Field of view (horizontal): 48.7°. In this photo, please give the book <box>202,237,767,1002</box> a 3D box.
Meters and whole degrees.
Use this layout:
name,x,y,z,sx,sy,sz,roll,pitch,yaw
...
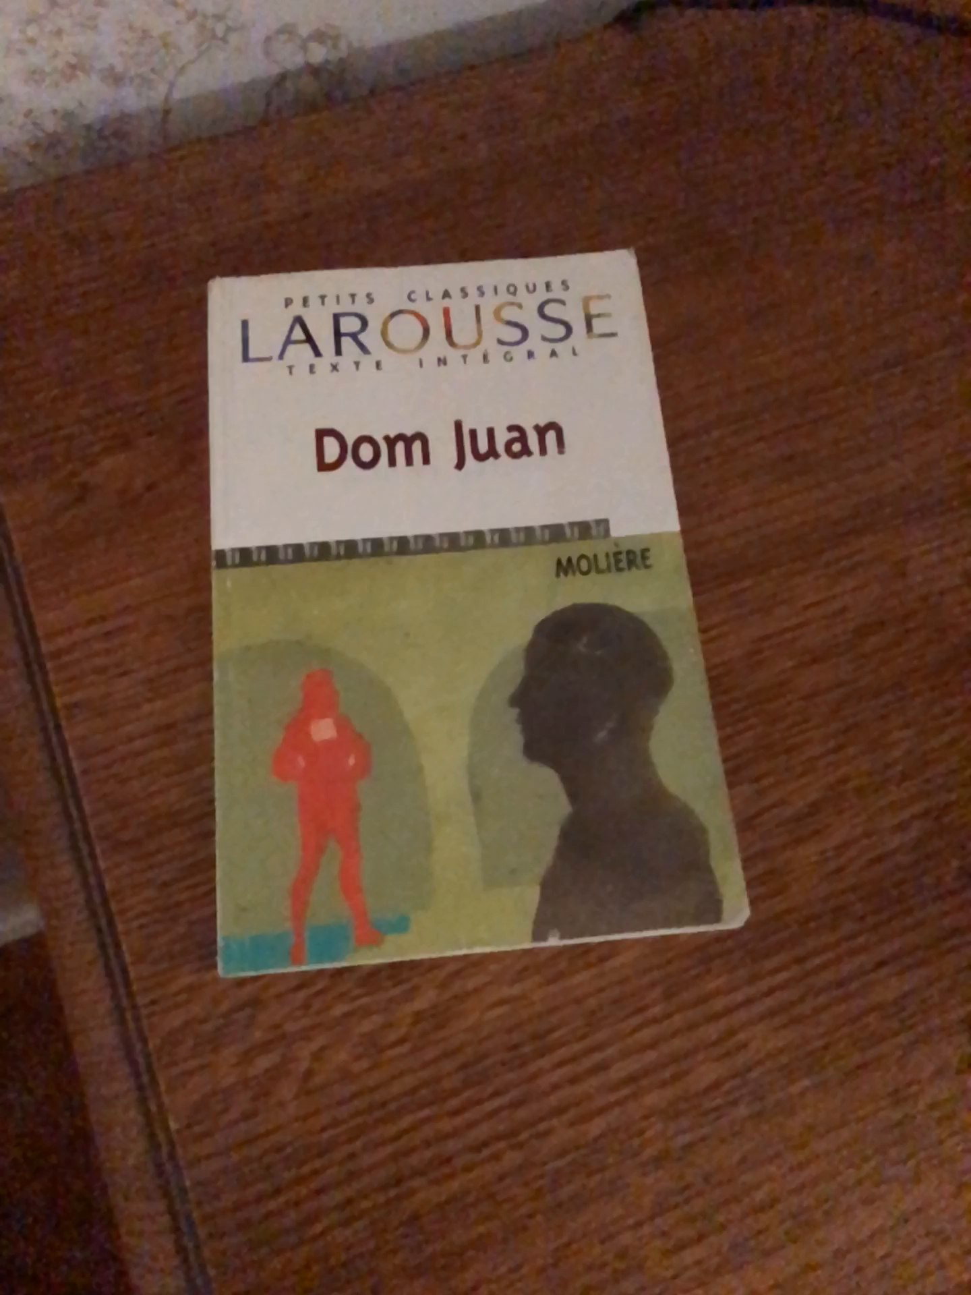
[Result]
name,x,y,z,sx,sy,sz,roll,pitch,yaw
book,-0.007,-0.017,0.253,0.115,0.010,0.180,-4,71,-3
